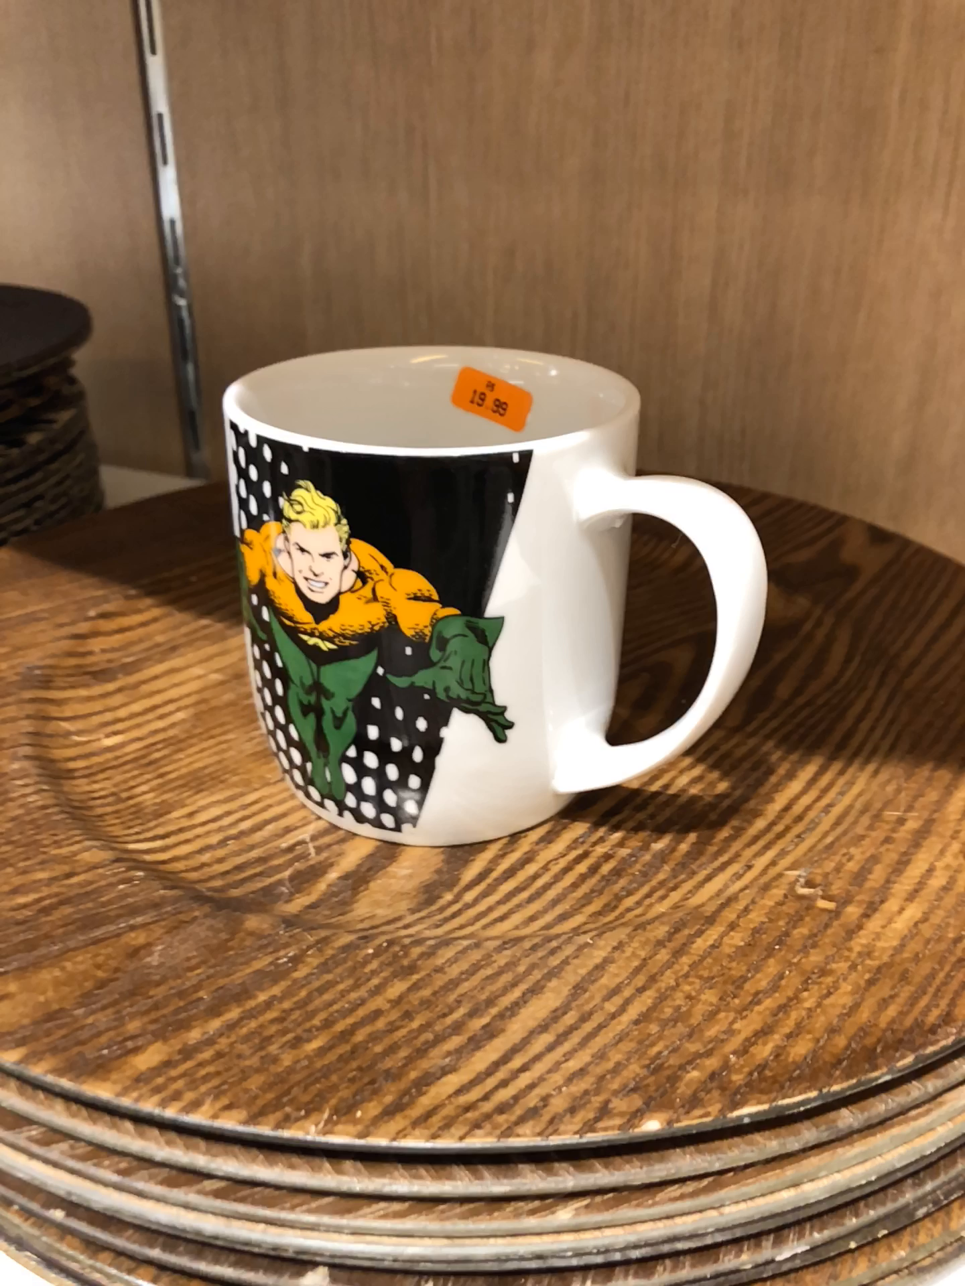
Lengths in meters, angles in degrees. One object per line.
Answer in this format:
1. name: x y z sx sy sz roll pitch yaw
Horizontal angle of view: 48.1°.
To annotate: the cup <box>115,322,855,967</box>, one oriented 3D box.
1. cup: 0.003 -0.013 0.236 0.120 0.089 0.091 14 28 27
